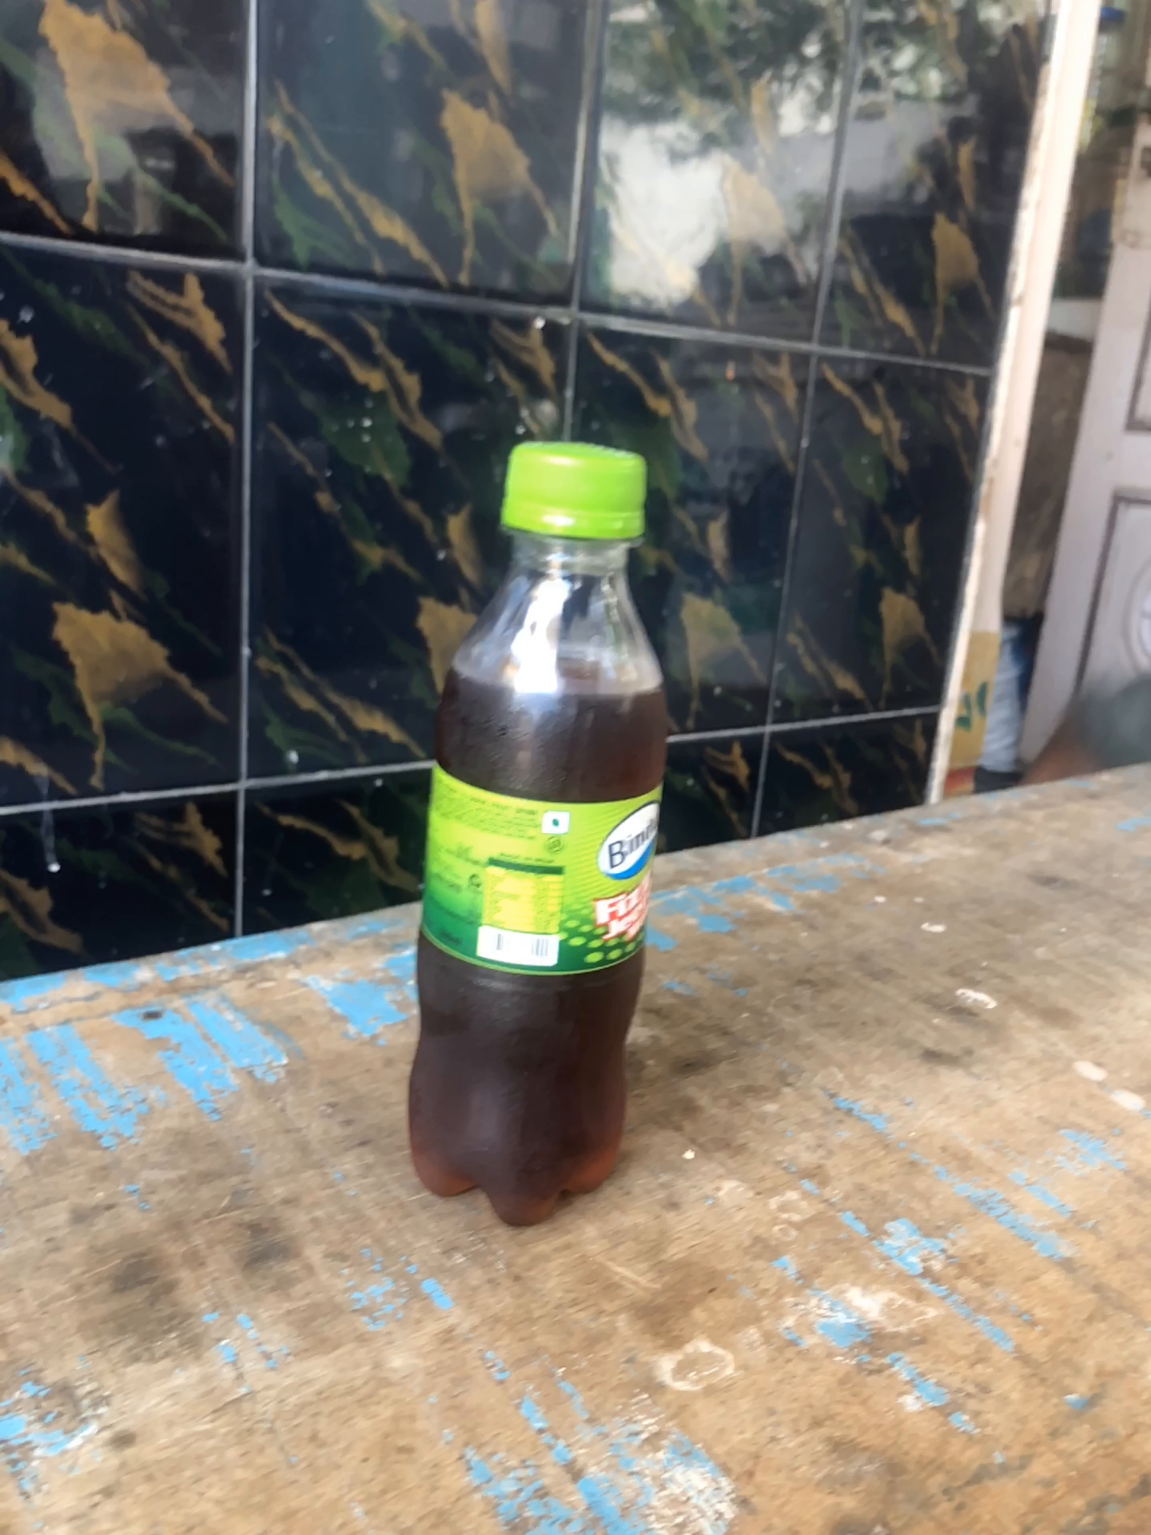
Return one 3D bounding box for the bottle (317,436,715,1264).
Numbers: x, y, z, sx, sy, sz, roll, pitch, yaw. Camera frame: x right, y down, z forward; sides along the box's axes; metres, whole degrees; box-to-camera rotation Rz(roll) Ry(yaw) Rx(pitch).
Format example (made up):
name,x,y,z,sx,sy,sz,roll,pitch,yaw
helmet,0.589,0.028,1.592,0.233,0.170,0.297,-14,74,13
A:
name,x,y,z,sx,sy,sz,roll,pitch,yaw
bottle,-0.016,0.015,0.311,0.060,0.179,0.060,5,16,-1
